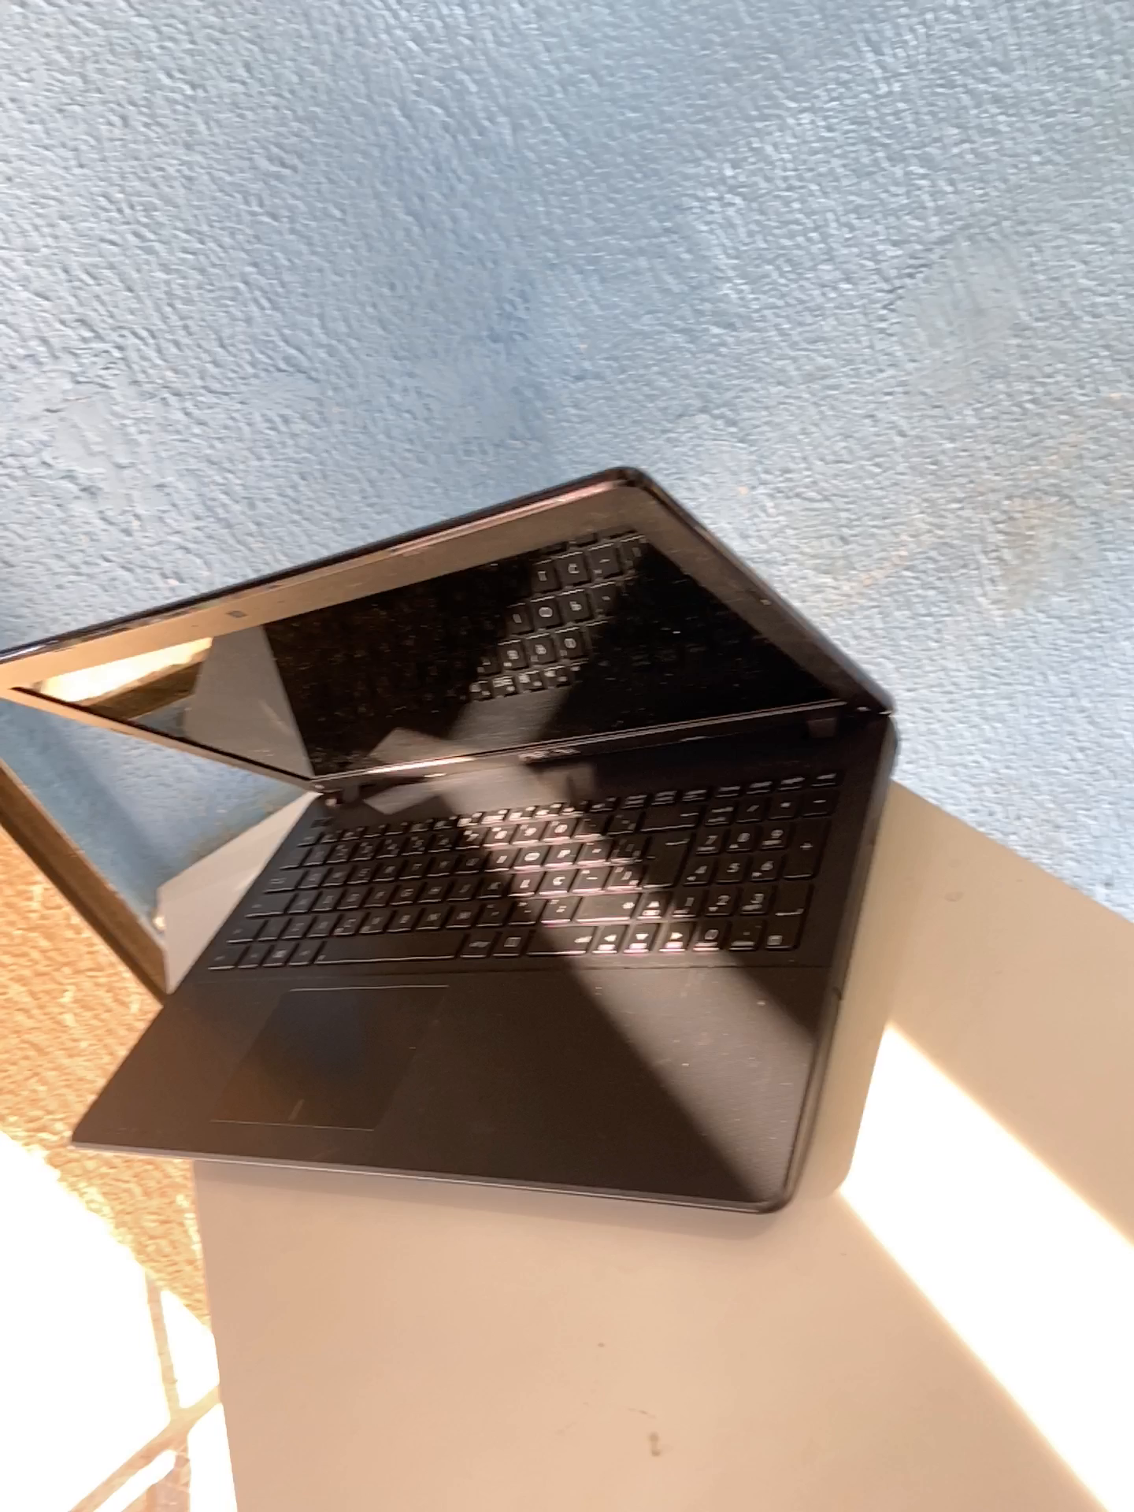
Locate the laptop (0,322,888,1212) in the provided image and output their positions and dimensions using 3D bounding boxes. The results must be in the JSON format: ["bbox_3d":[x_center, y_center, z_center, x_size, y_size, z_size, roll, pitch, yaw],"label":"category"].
[{"bbox_3d":[-0.089,0.013,0.506,0.373,0.190,0.239,-9,35,34],"label":"laptop"}]
